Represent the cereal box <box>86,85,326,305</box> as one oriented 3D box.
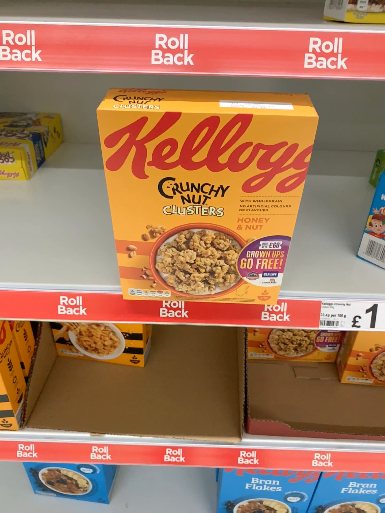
[{"bbox_3d":[0.009,-0.053,0.425,0.200,0.228,0.061,2,39,0],"label":"cereal box"}]
